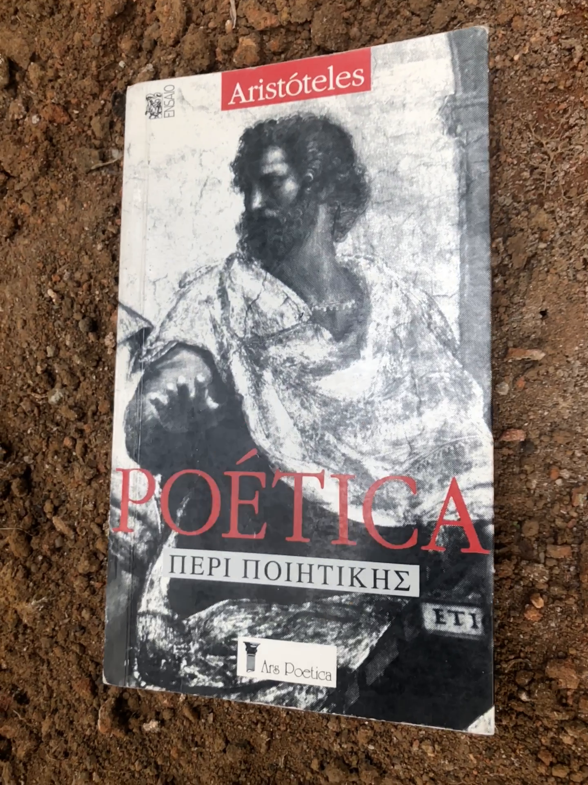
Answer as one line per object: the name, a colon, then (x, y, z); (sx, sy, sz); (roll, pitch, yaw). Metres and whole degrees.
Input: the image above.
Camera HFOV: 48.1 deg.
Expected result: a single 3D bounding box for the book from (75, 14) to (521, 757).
book: (-0.003, -0.004, 0.196); (0.130, 0.015, 0.189); (-1, 86, 19)
